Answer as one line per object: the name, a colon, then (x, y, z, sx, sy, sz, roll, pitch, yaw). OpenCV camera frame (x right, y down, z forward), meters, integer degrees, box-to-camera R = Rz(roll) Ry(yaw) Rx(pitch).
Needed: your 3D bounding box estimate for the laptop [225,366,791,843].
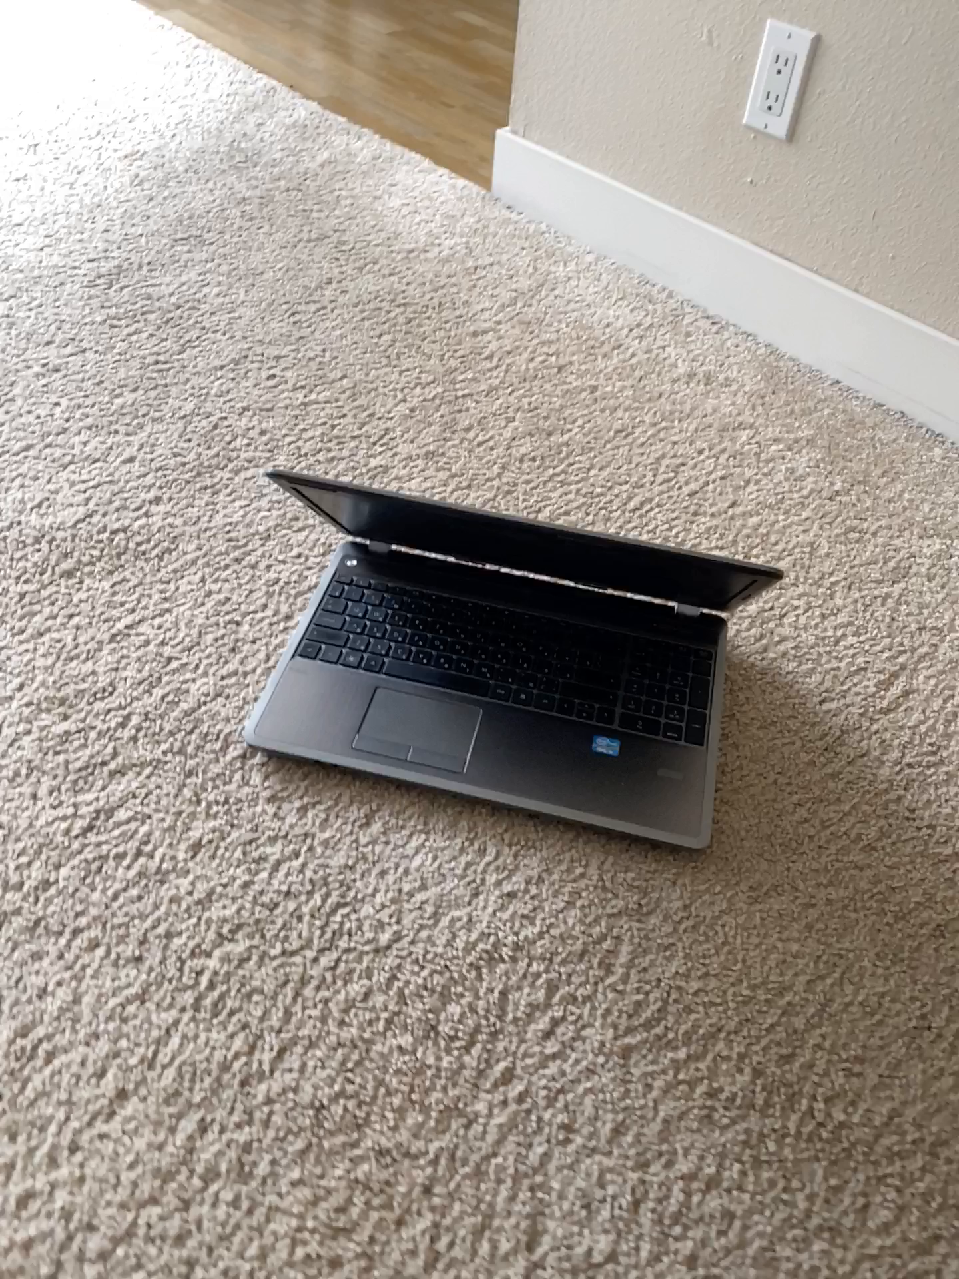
laptop: (0.034, -0.037, 0.775, 0.368, 0.186, 0.255, 12, 46, 6)
